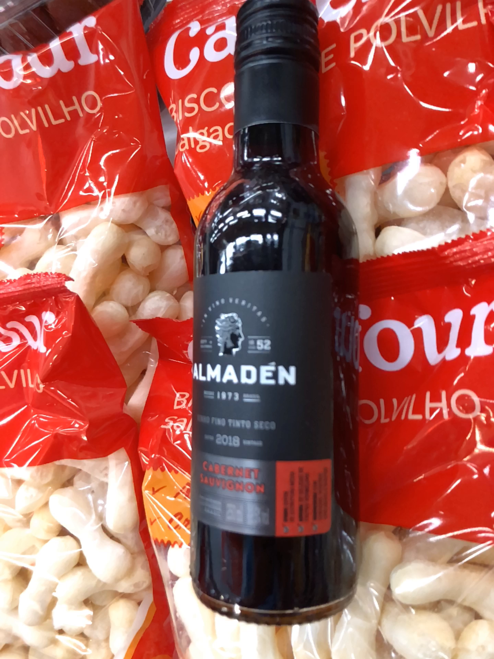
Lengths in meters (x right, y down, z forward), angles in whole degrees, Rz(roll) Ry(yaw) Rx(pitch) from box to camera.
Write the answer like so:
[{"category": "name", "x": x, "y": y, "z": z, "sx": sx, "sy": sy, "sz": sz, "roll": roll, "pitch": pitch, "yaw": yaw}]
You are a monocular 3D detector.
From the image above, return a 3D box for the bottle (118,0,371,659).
[{"category": "bottle", "x": 0.005, "y": -0.027, "z": 0.195, "sx": 0.060, "sy": 0.060, "sz": 0.240, "roll": -2, "pitch": 82, "yaw": 29}]
